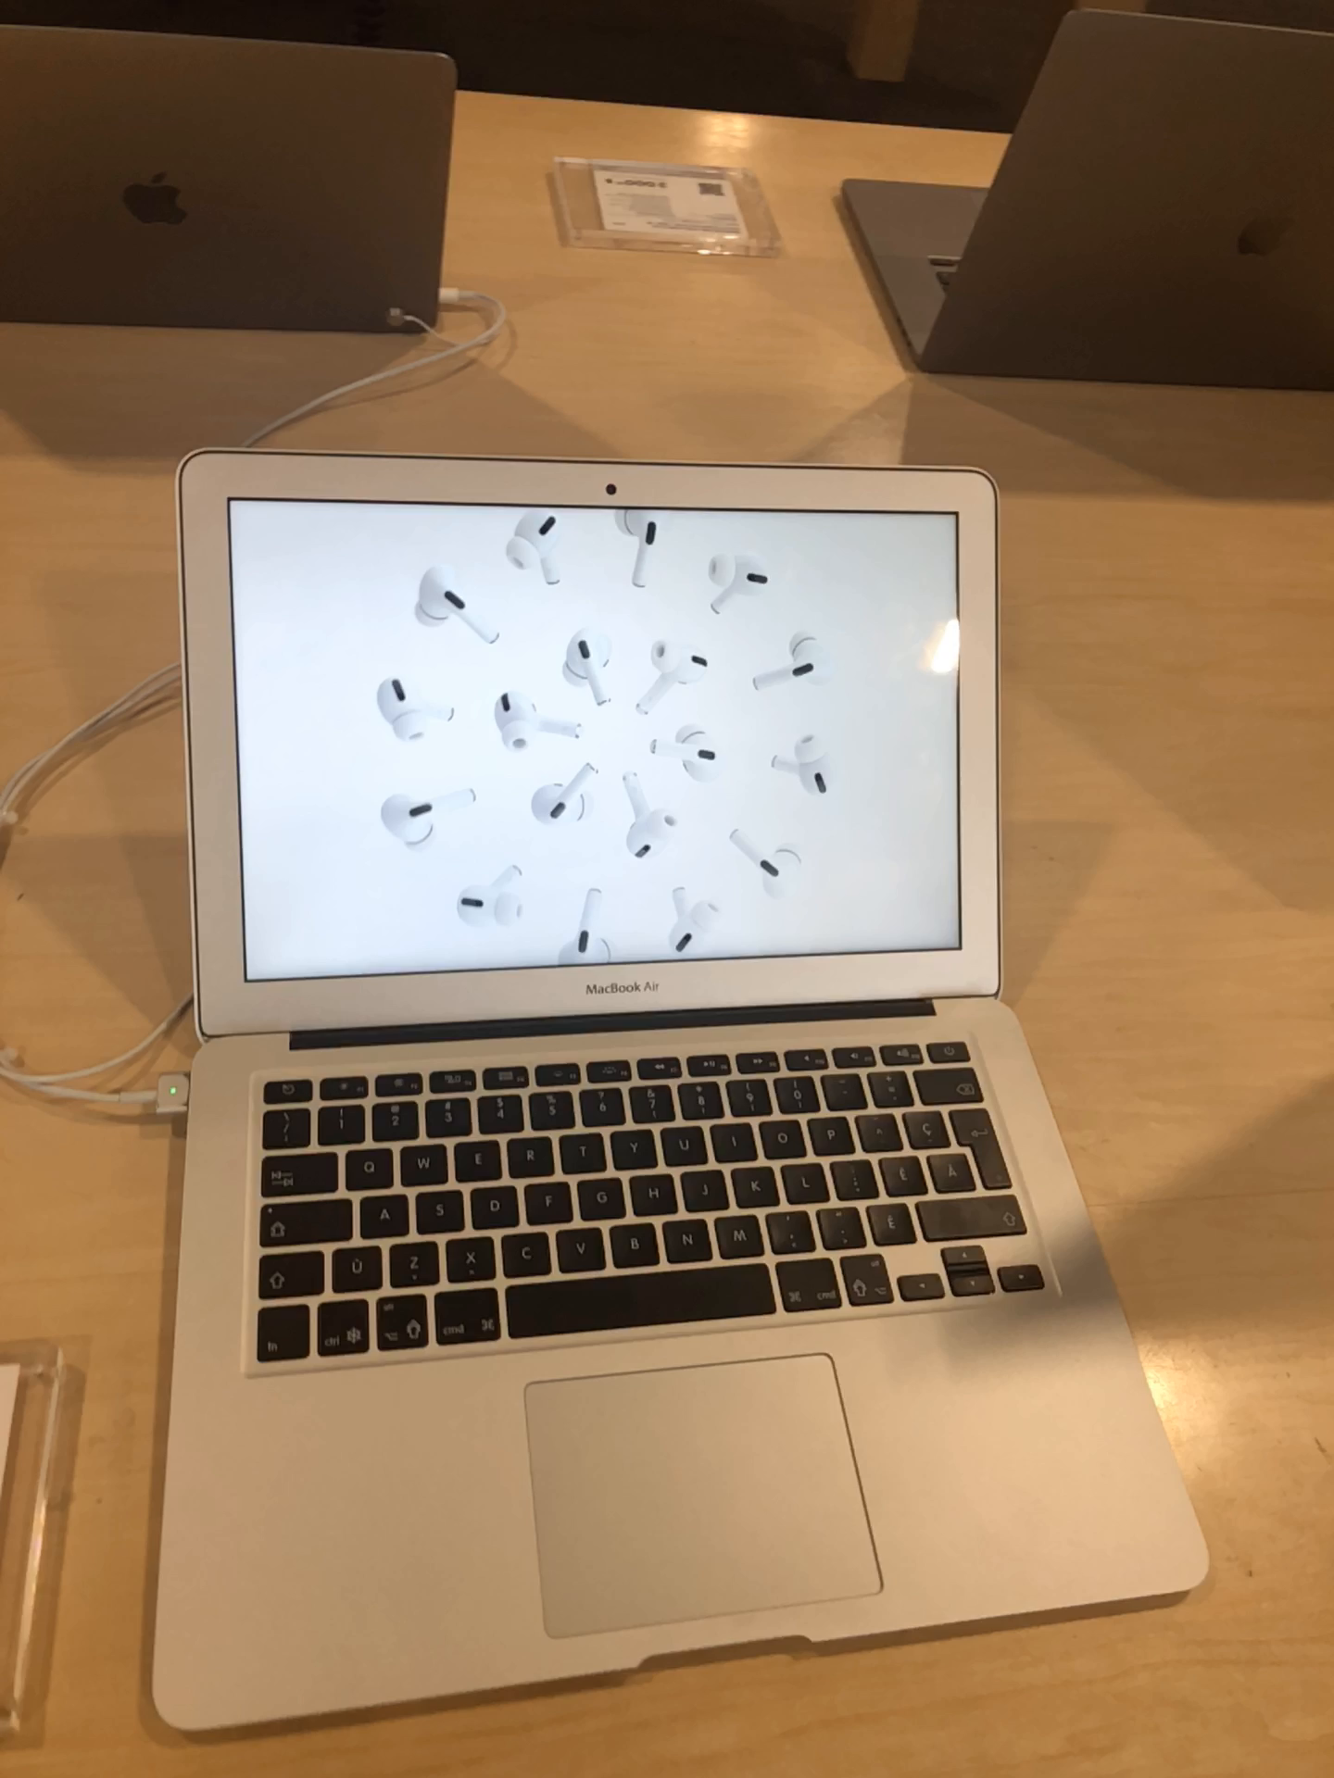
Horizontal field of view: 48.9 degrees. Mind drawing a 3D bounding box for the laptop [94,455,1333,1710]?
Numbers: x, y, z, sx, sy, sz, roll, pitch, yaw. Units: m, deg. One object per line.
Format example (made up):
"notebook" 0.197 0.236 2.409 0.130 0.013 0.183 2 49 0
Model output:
"laptop" -0.004 0.029 0.489 0.303 0.137 0.371 -2 51 -12
